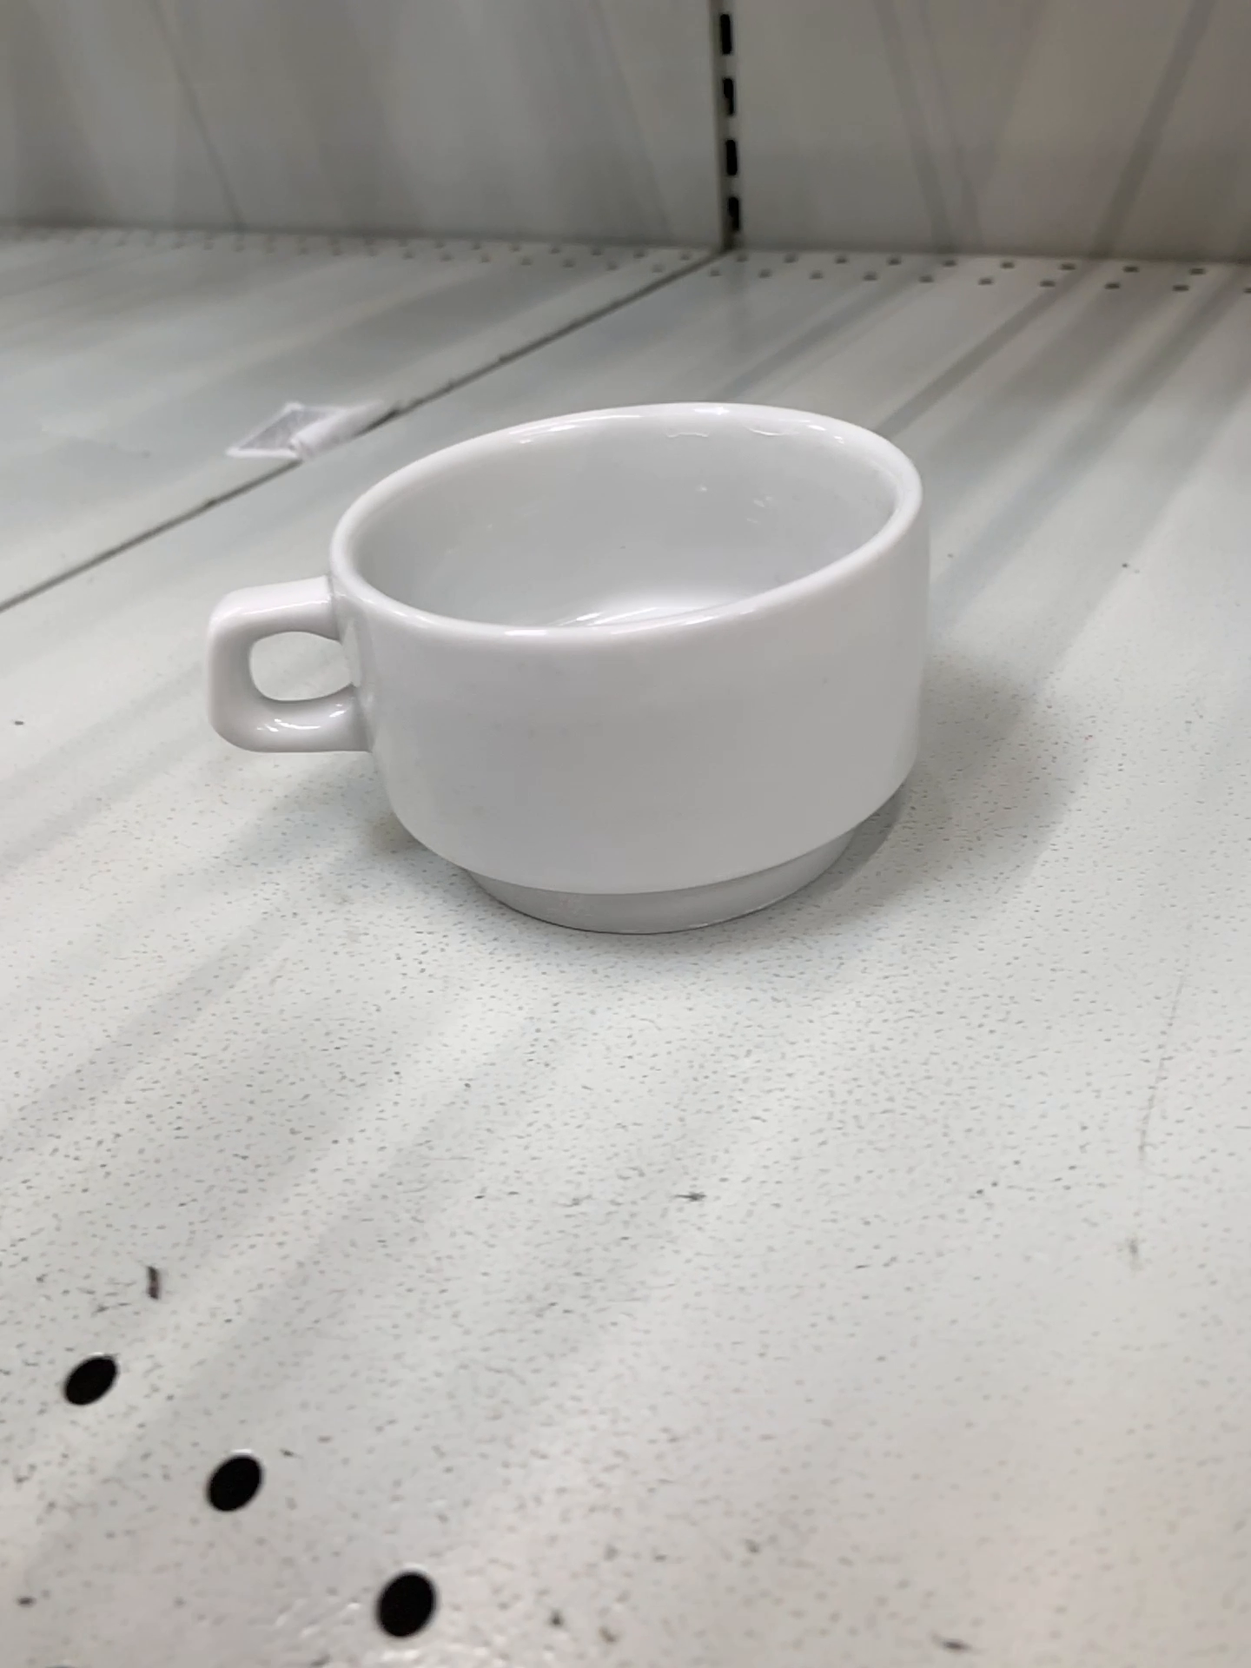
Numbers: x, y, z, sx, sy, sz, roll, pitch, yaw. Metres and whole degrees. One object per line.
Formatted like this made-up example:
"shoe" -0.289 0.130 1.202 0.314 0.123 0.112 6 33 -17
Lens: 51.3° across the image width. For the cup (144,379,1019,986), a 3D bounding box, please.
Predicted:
"cup" -0.006 -0.031 0.216 0.111 0.051 0.091 -7 35 0
